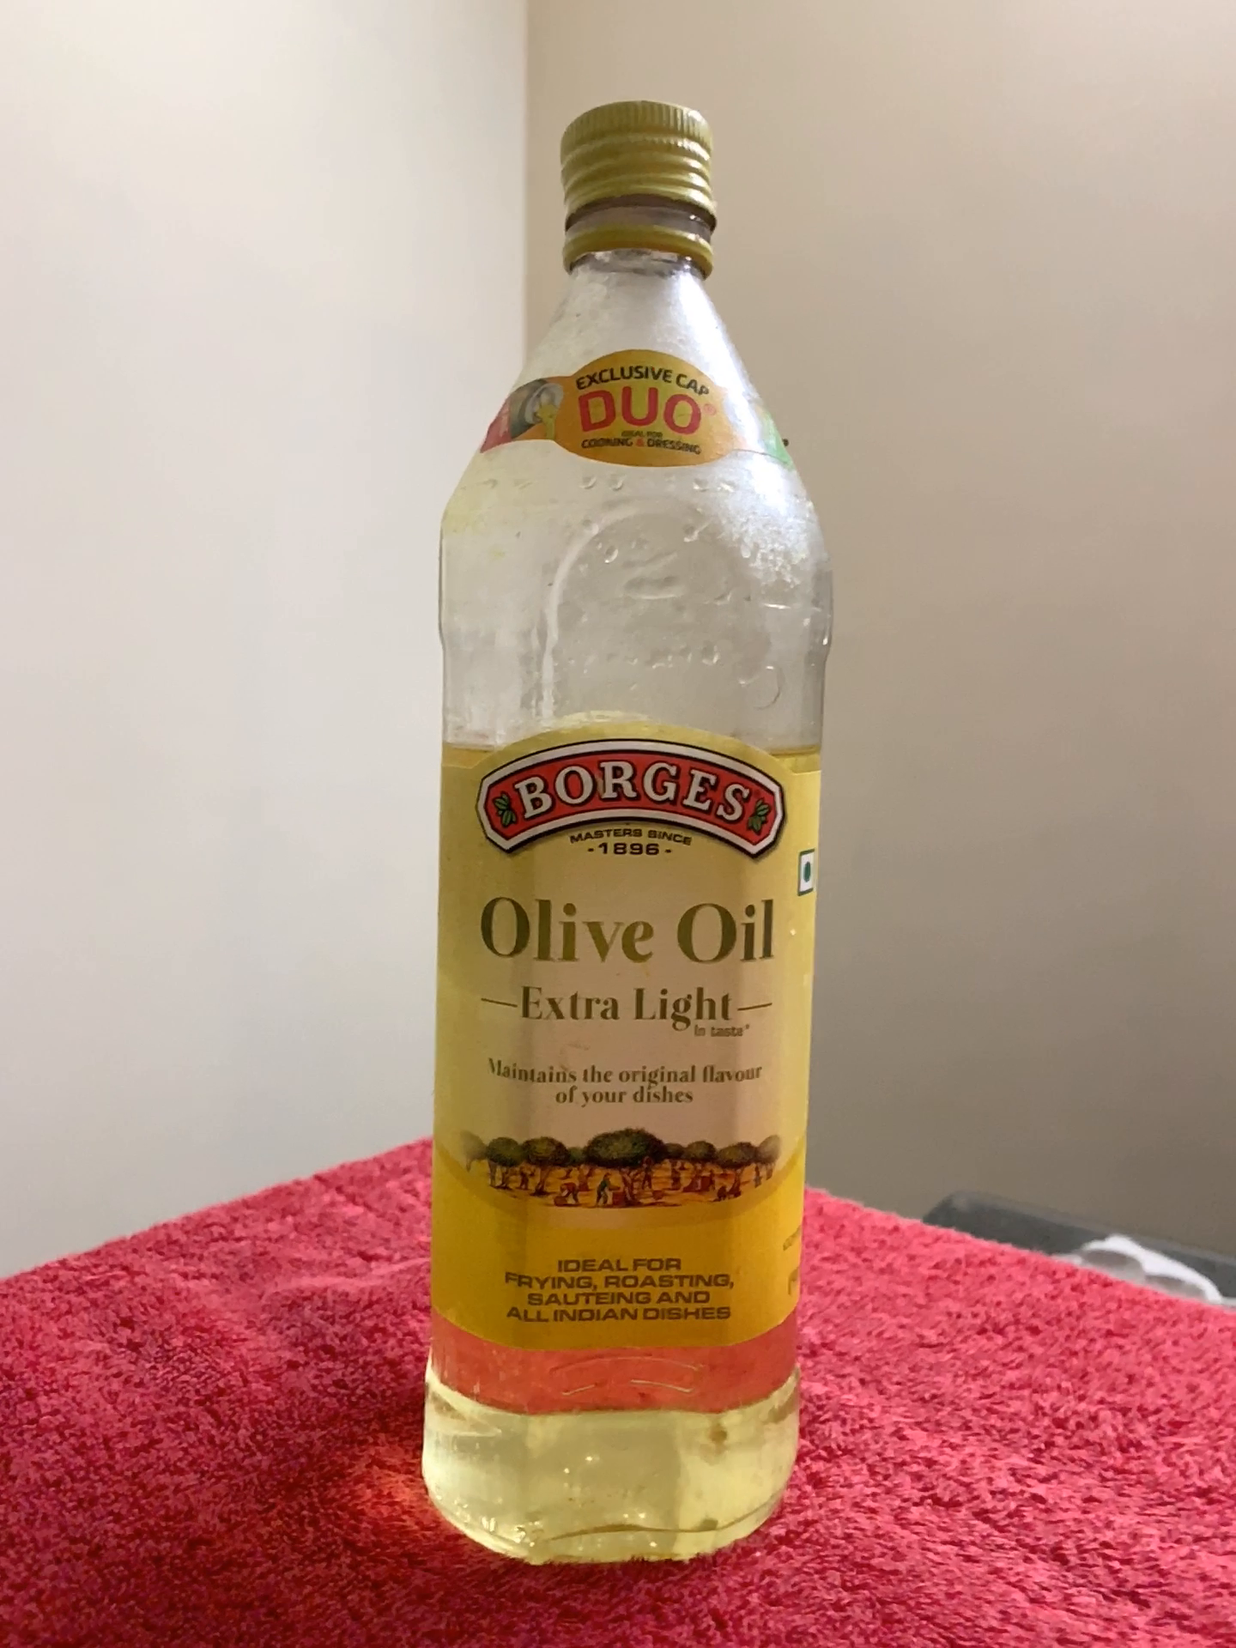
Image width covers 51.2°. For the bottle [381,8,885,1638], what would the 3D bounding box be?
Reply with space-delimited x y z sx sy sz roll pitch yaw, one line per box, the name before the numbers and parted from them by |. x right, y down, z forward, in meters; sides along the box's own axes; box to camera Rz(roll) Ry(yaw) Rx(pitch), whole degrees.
bottle | -0.001 0.004 0.250 0.080 0.270 0.070 0 5 -4
